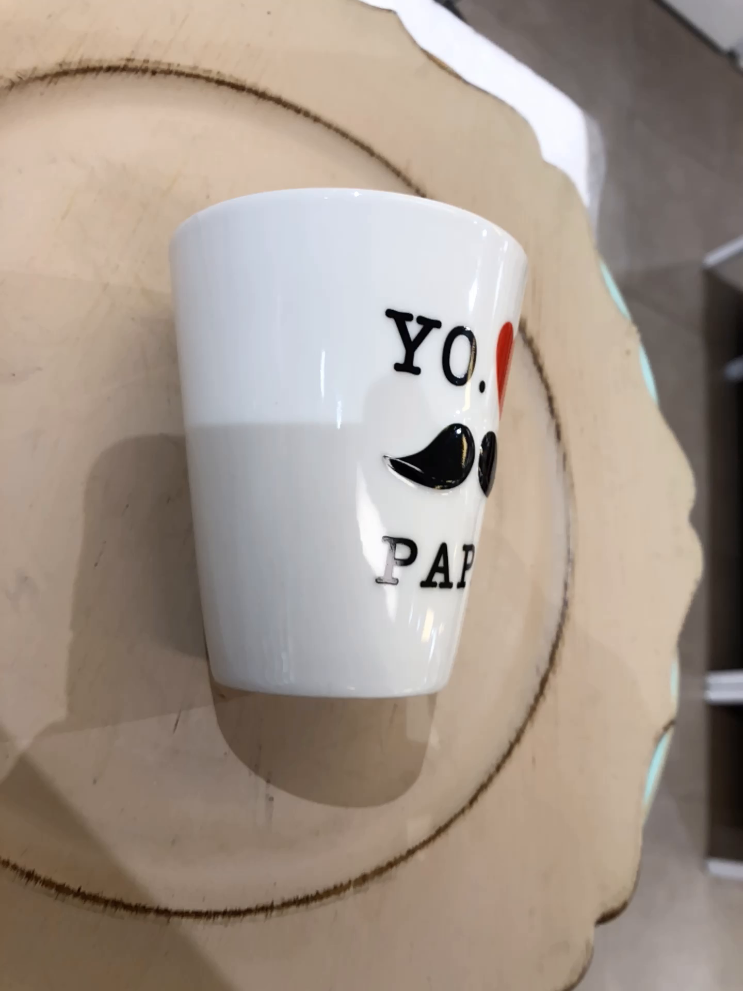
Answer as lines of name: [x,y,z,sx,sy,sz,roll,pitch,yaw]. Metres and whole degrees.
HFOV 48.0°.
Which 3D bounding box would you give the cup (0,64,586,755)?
cup: [-0.012,-0.012,0.214,0.110,0.090,0.120,-4,95,-55]
